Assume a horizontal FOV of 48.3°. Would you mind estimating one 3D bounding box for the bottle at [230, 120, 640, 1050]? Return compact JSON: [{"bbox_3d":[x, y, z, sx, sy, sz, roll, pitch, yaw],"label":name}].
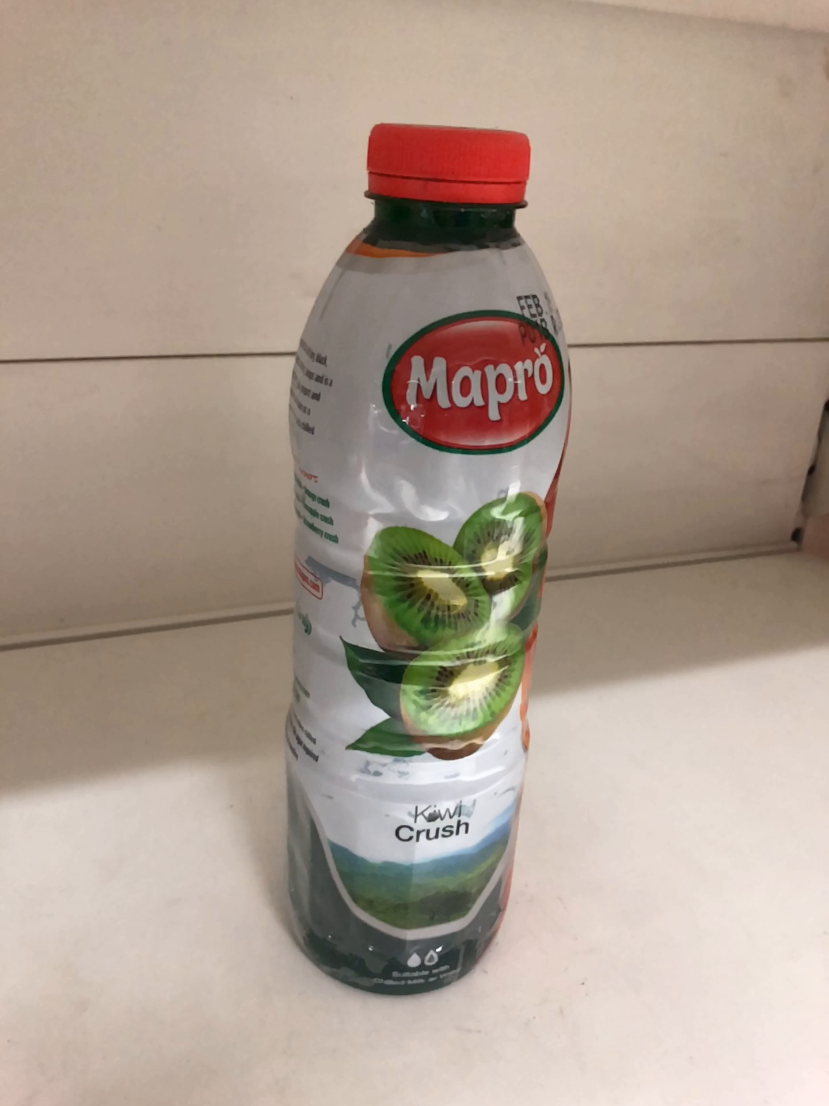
[{"bbox_3d":[-0.005,0.016,0.277,0.080,0.259,0.070,-6,25,-21],"label":"bottle"}]
